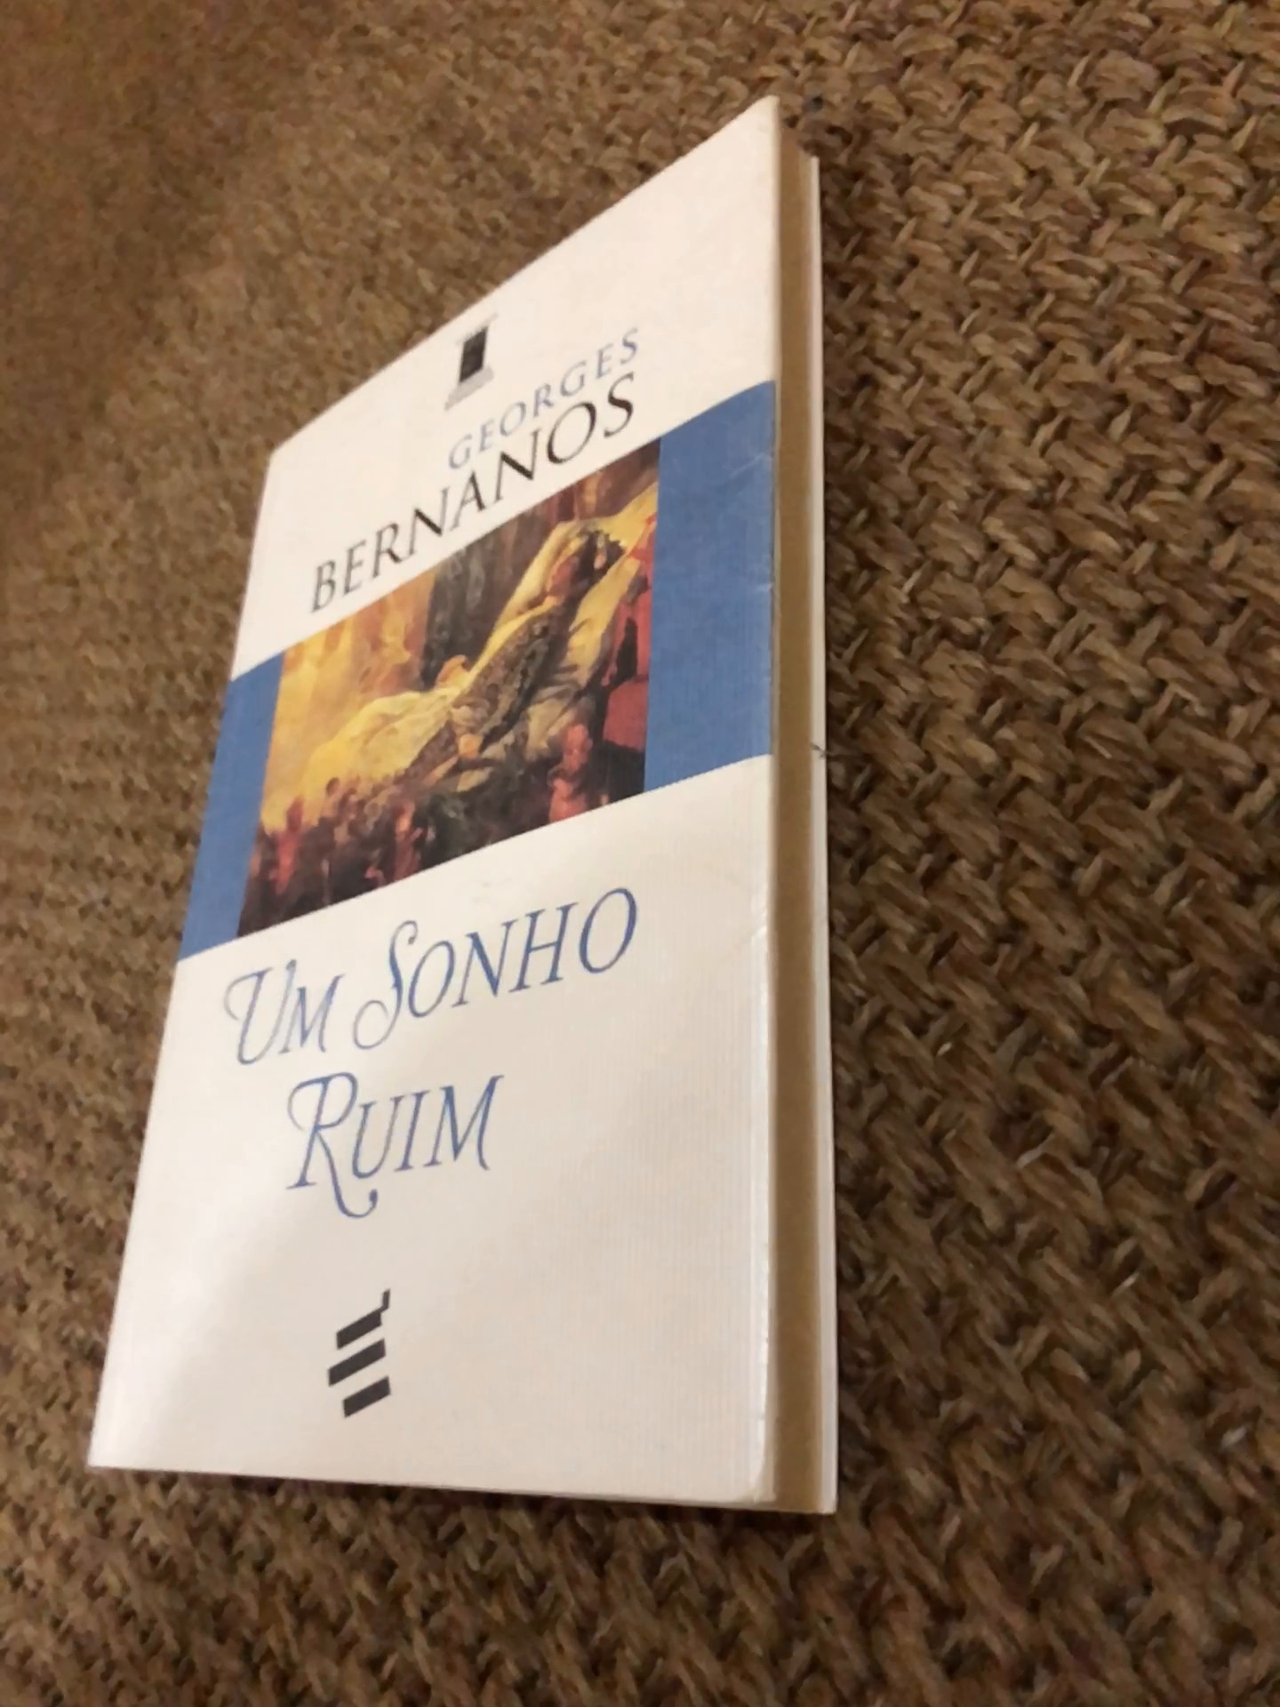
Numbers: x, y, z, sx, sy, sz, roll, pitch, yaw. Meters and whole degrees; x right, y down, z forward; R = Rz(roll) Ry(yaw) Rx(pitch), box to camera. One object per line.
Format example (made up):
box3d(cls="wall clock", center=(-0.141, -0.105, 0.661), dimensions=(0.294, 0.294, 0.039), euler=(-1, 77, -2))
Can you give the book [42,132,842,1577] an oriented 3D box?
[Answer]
box3d(cls="book", center=(-0.033, 0.000, 0.231), dimensions=(0.141, 0.020, 0.199), euler=(-18, 58, 39))
